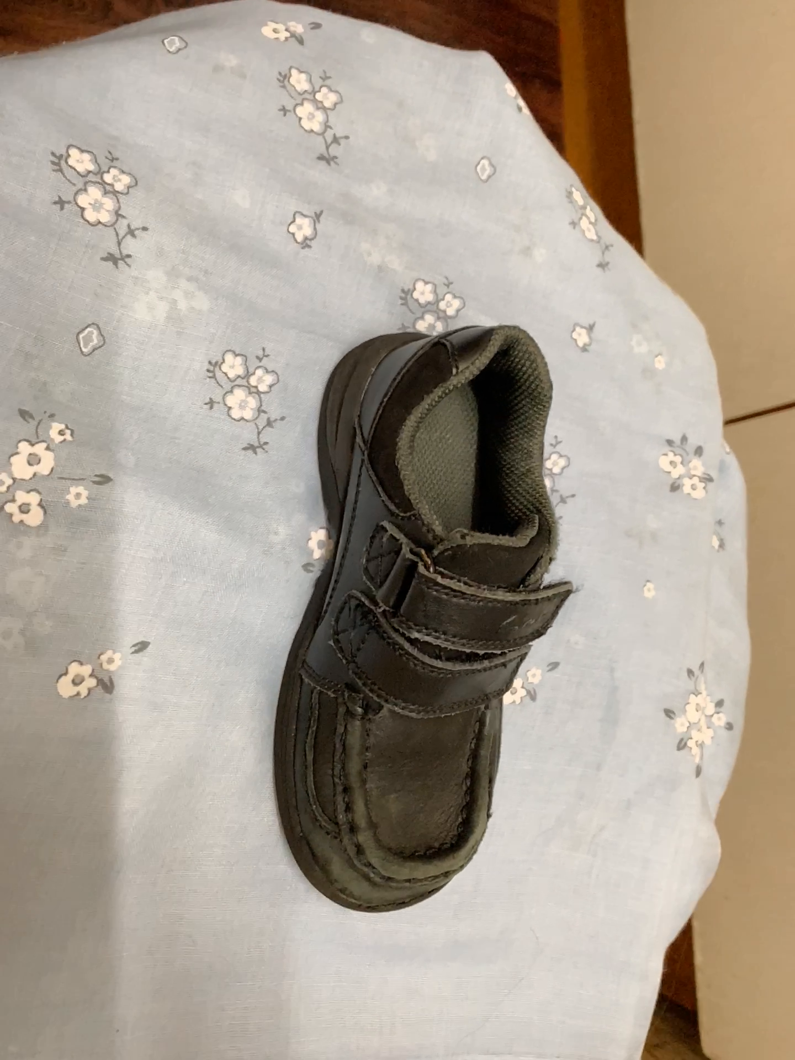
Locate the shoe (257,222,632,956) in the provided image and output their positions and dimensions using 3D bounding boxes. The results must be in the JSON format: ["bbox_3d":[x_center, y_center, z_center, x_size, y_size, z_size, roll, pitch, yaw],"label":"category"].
[{"bbox_3d":[0.016,0.018,0.261,0.079,0.073,0.190,10,79,-27],"label":"shoe"}]
